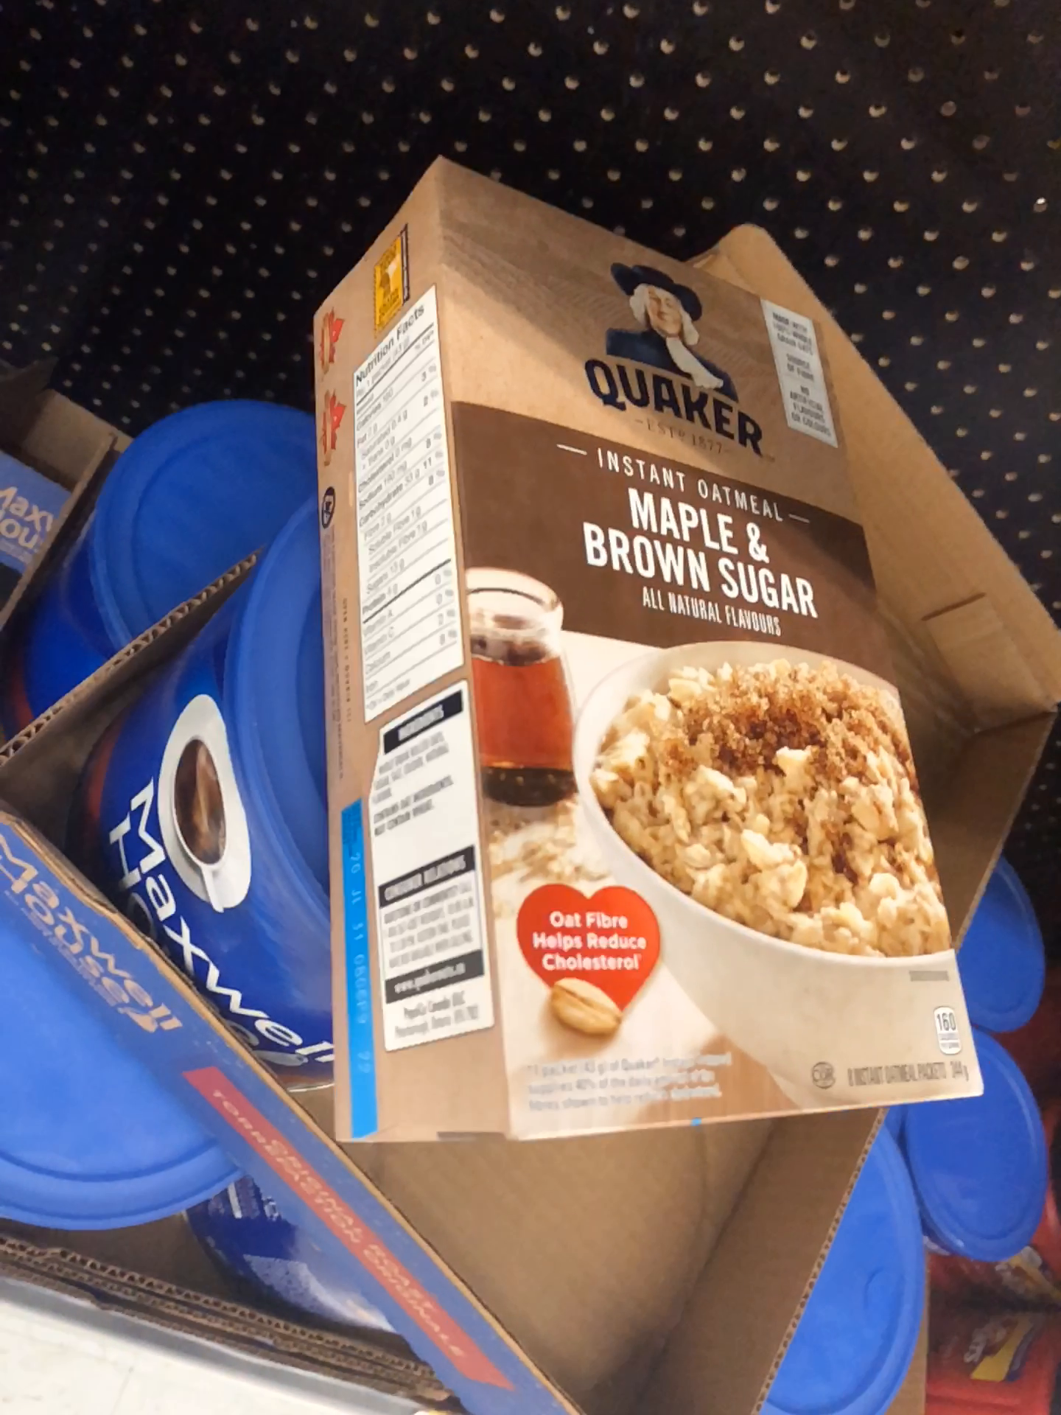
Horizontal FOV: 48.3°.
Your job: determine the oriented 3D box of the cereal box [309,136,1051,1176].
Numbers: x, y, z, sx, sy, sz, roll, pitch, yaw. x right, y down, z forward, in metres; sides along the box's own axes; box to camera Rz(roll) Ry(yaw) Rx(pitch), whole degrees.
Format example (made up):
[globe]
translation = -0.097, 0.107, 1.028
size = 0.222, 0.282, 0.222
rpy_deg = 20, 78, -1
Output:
[cereal box]
translation = 0.029, -0.004, 0.278
size = 0.141, 0.070, 0.200
rpy_deg = 8, 68, -34
